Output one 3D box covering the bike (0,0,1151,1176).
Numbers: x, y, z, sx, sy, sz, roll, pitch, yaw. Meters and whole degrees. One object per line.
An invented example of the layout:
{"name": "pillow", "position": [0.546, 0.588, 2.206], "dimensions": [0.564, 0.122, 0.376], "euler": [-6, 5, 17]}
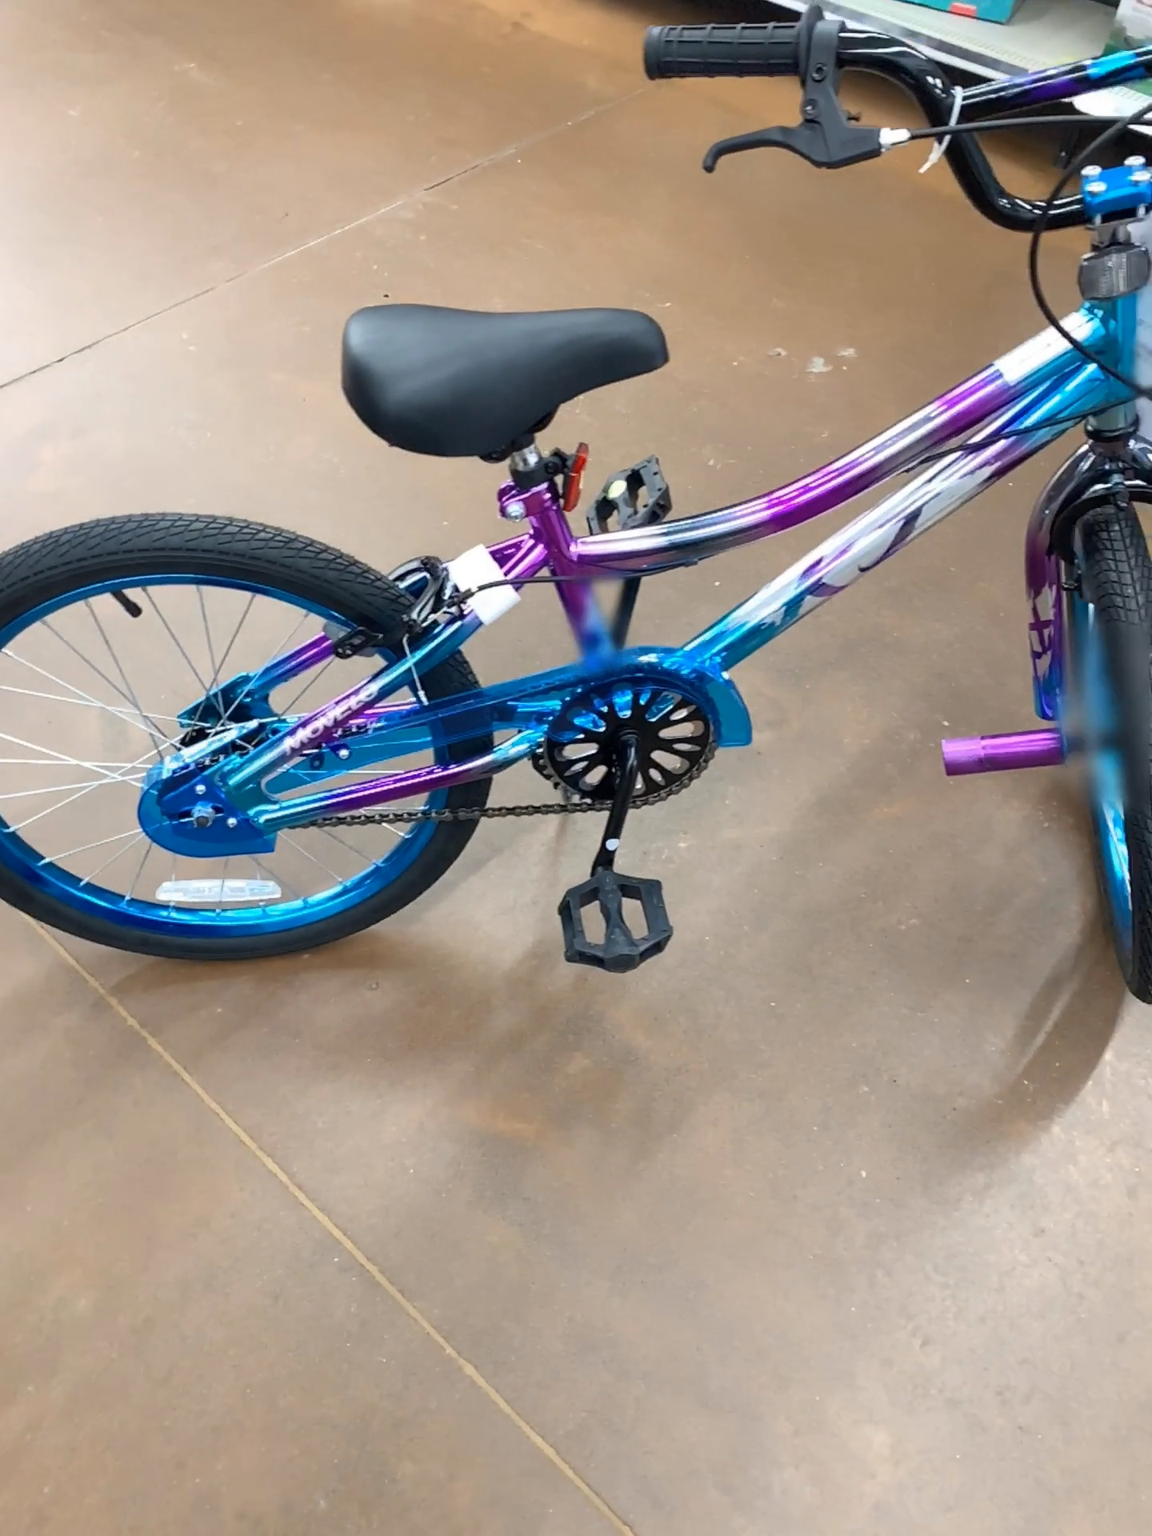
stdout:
{"name": "bike", "position": [0.012, -0.297, 0.959], "dimensions": [1.120, 0.877, 0.622], "euler": [-11, 53, -13]}
